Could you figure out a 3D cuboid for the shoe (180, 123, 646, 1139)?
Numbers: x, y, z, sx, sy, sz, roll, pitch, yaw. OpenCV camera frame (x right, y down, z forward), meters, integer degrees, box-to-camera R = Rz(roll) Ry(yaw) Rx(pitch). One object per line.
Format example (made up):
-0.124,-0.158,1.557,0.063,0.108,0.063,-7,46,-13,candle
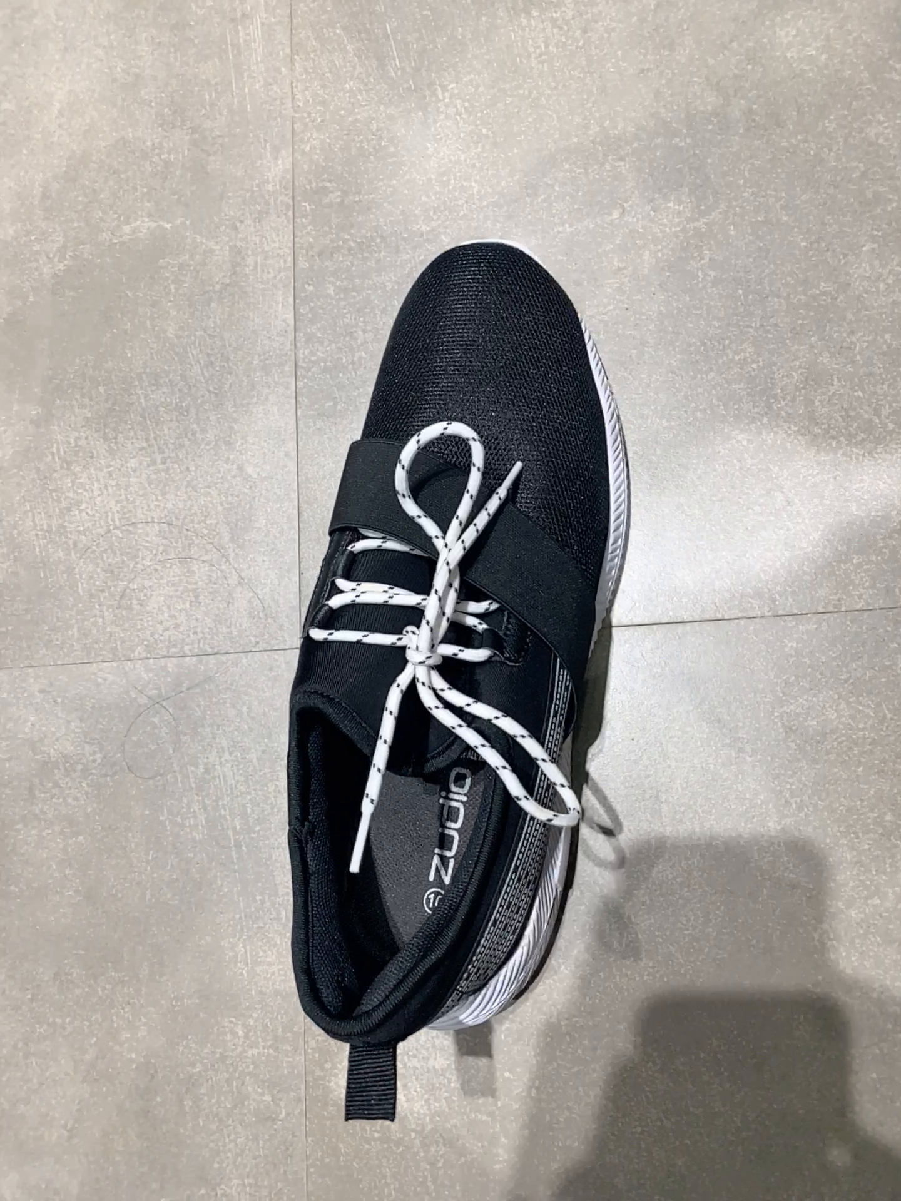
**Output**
0.004,0.004,0.348,0.116,0.132,0.304,4,81,12,shoe
